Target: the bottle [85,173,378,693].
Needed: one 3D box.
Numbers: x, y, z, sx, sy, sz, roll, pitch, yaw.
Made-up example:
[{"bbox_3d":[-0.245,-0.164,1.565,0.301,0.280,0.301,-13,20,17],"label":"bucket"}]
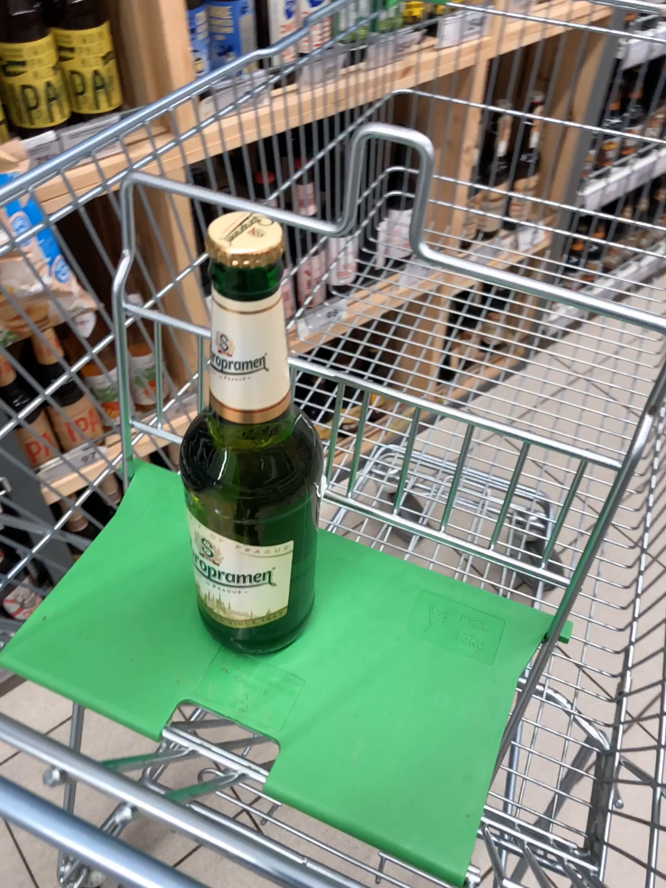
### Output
[{"bbox_3d":[-0.037,0.014,0.334,0.070,0.239,0.070,1,47,-2],"label":"bottle"}]
